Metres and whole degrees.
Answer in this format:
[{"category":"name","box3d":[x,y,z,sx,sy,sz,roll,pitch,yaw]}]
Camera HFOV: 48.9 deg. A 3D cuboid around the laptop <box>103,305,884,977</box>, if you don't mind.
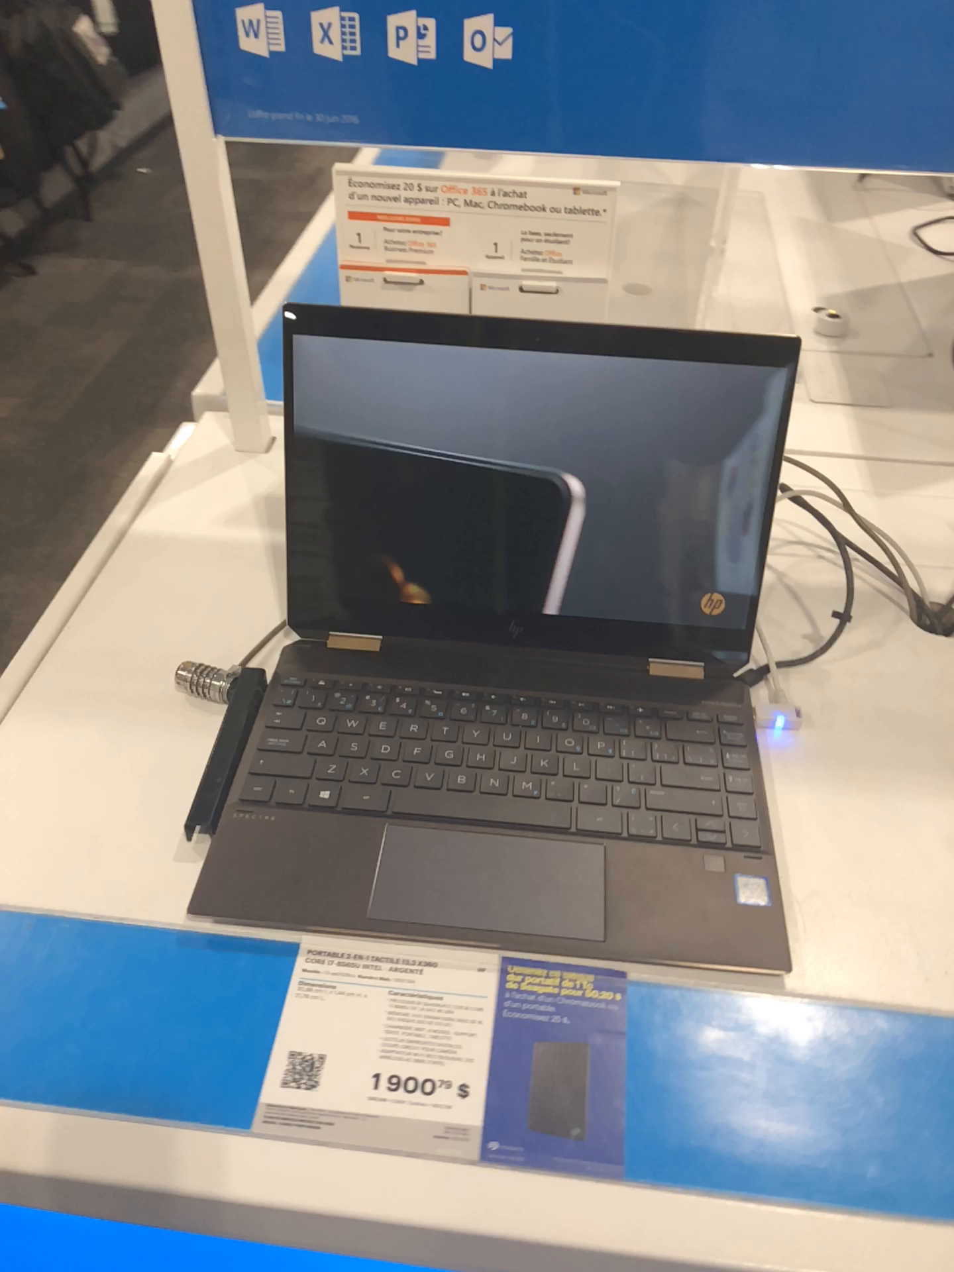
[{"category":"laptop","box3d":[0.016,-0.015,0.570,0.297,0.197,0.286,5,40,3]}]
